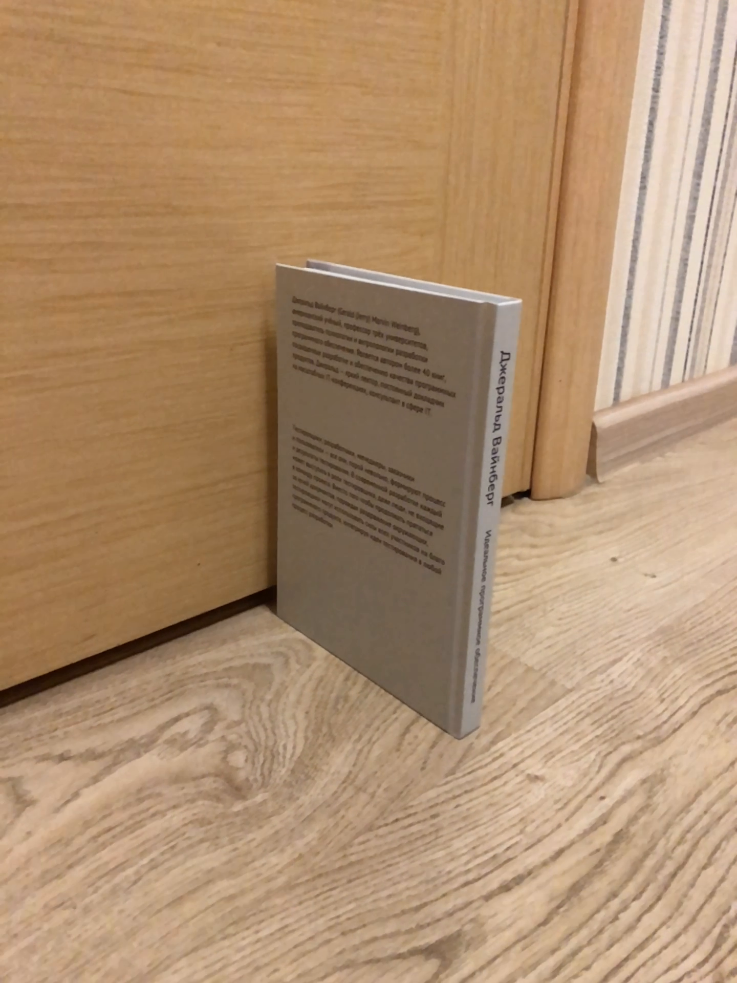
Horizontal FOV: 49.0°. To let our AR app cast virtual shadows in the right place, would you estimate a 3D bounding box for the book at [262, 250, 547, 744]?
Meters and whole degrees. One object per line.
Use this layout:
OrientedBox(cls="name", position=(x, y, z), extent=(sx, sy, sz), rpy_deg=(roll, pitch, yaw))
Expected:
OrientedBox(cls="book", position=(0.005, -0.005, 0.406), extent=(0.023, 0.209, 0.163), rpy_deg=(-16, 27, -39))
